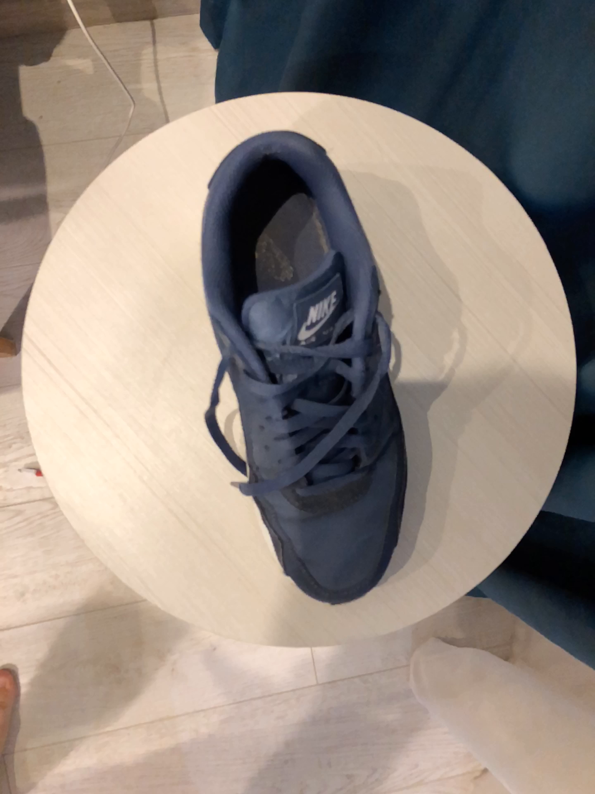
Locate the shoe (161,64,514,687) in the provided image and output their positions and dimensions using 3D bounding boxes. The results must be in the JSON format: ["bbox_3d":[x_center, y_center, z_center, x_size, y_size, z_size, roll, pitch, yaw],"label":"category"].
[{"bbox_3d":[0.014,-0.013,0.361,0.110,0.110,0.280,-12,87,-6],"label":"shoe"}]
